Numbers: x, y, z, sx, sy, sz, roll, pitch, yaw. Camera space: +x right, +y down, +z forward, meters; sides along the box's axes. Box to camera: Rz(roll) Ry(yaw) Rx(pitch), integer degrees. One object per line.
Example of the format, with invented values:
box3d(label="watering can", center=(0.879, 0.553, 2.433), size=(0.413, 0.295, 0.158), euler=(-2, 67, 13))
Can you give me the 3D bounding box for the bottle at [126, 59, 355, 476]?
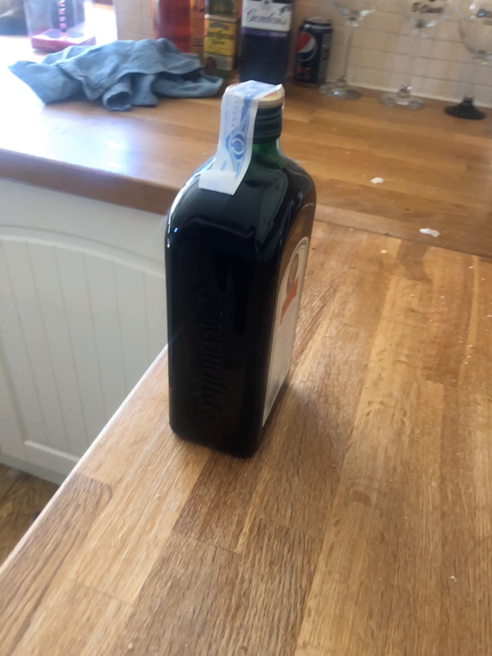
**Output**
box3d(label="bottle", center=(-0.004, -0.030, 0.331), size=(0.080, 0.218, 0.101), euler=(16, 39, 14))
